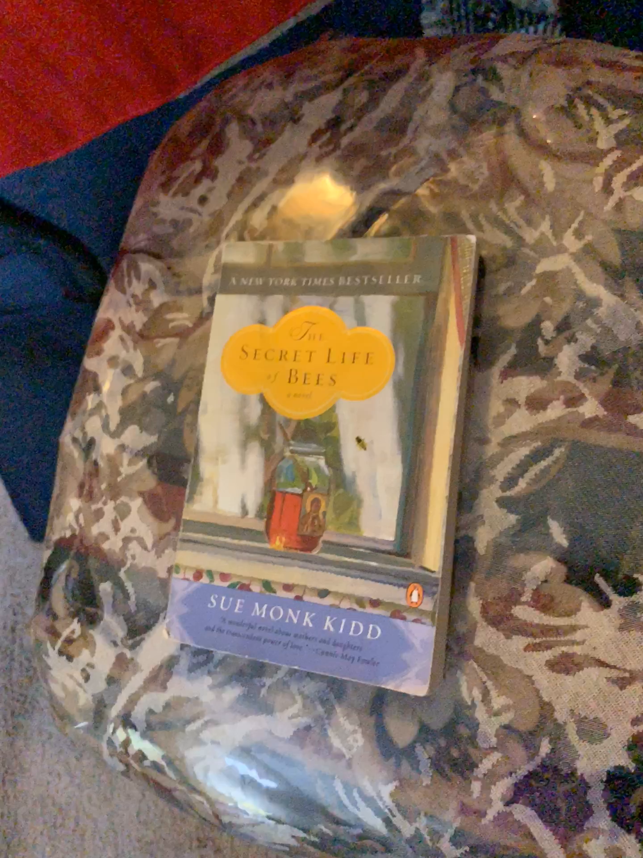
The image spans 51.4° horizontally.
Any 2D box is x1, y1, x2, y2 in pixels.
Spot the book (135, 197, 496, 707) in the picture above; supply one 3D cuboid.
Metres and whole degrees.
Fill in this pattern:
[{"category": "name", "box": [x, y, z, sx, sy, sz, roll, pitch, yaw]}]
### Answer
[{"category": "book", "box": [-0.001, 0.003, 0.318, 0.140, 0.040, 0.210, 3, 79, 25]}]
